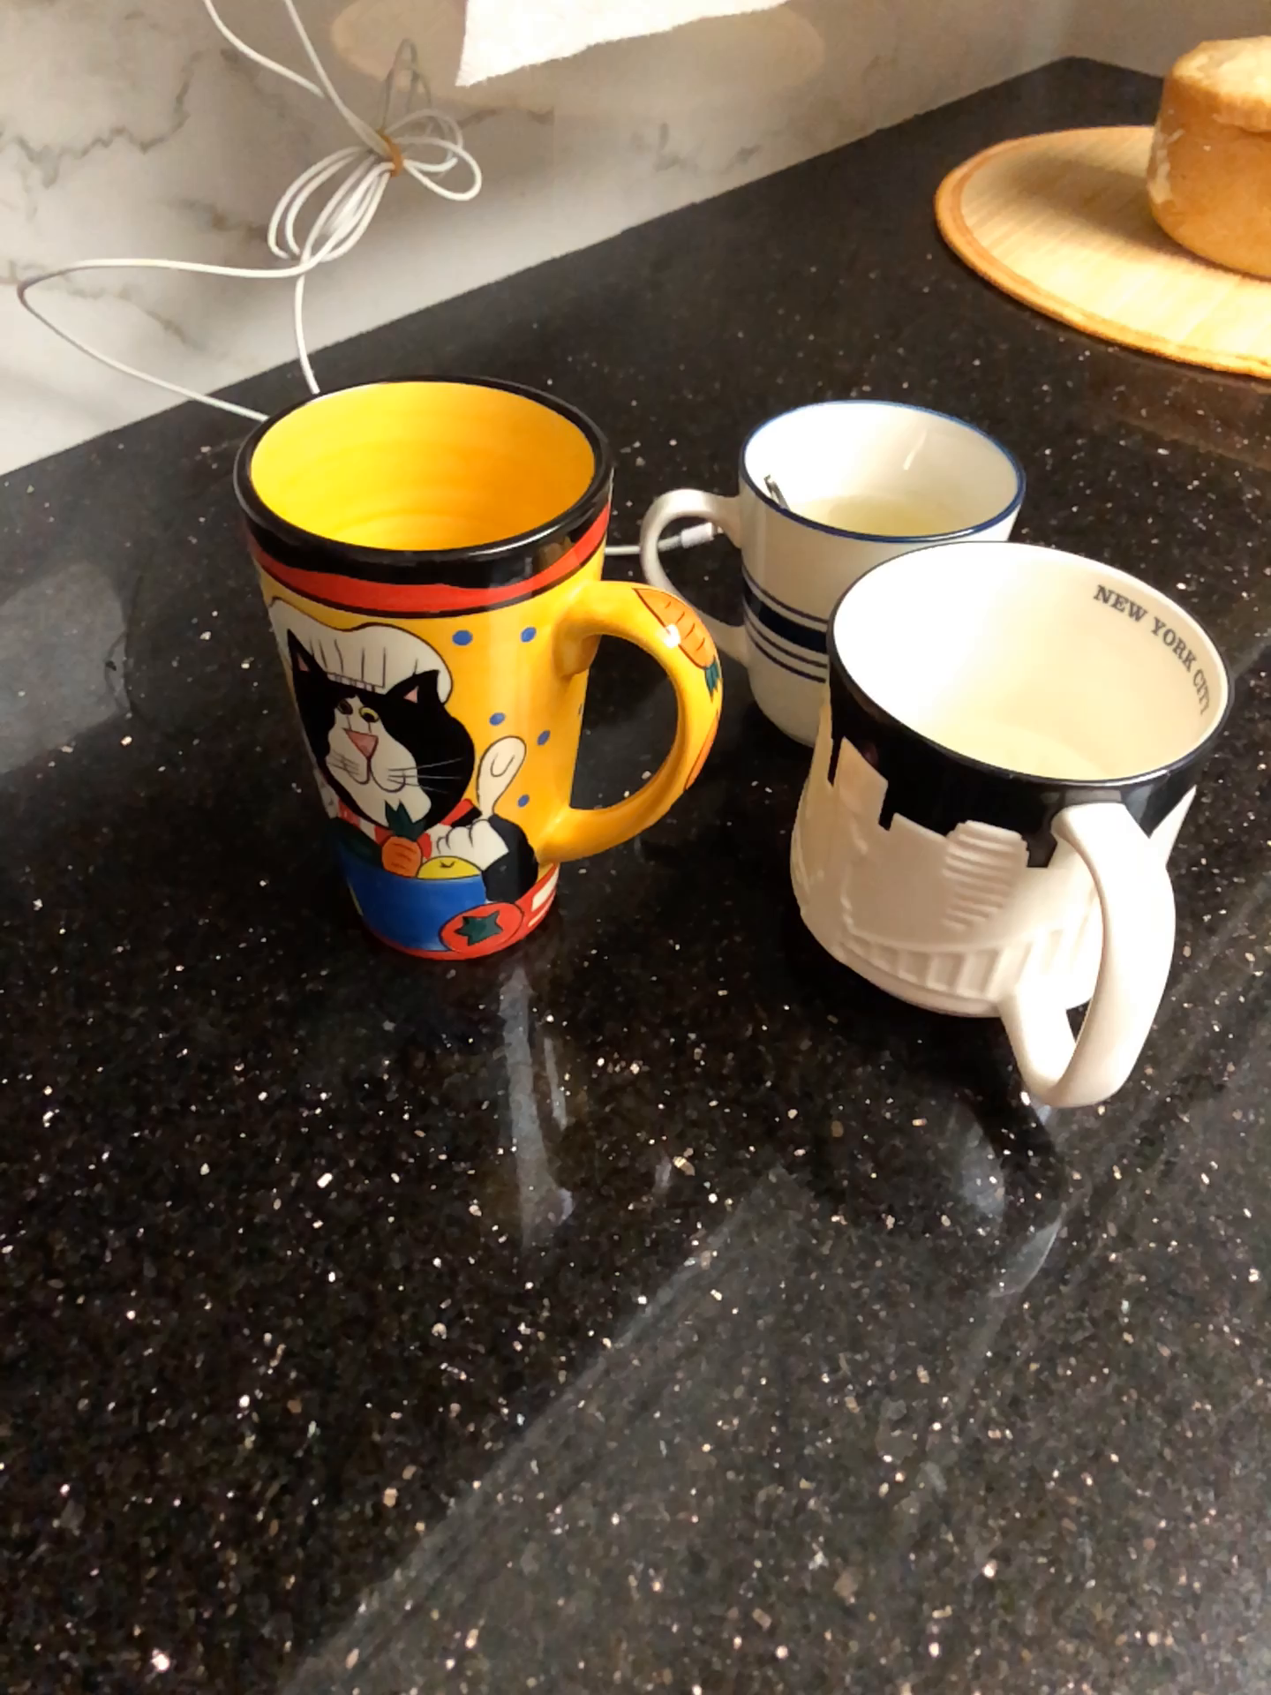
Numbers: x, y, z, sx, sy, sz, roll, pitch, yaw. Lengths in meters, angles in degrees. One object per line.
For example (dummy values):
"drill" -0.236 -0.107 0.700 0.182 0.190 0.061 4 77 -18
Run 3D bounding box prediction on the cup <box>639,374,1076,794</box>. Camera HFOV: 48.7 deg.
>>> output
"cup" 0.069 -0.086 0.456 0.120 0.090 0.080 9 44 6

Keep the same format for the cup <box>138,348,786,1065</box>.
"cup" -0.041 -0.038 0.371 0.120 0.129 0.090 23 47 20

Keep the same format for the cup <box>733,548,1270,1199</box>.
"cup" 0.095 0.001 0.376 0.110 0.090 0.151 -2 44 -5
